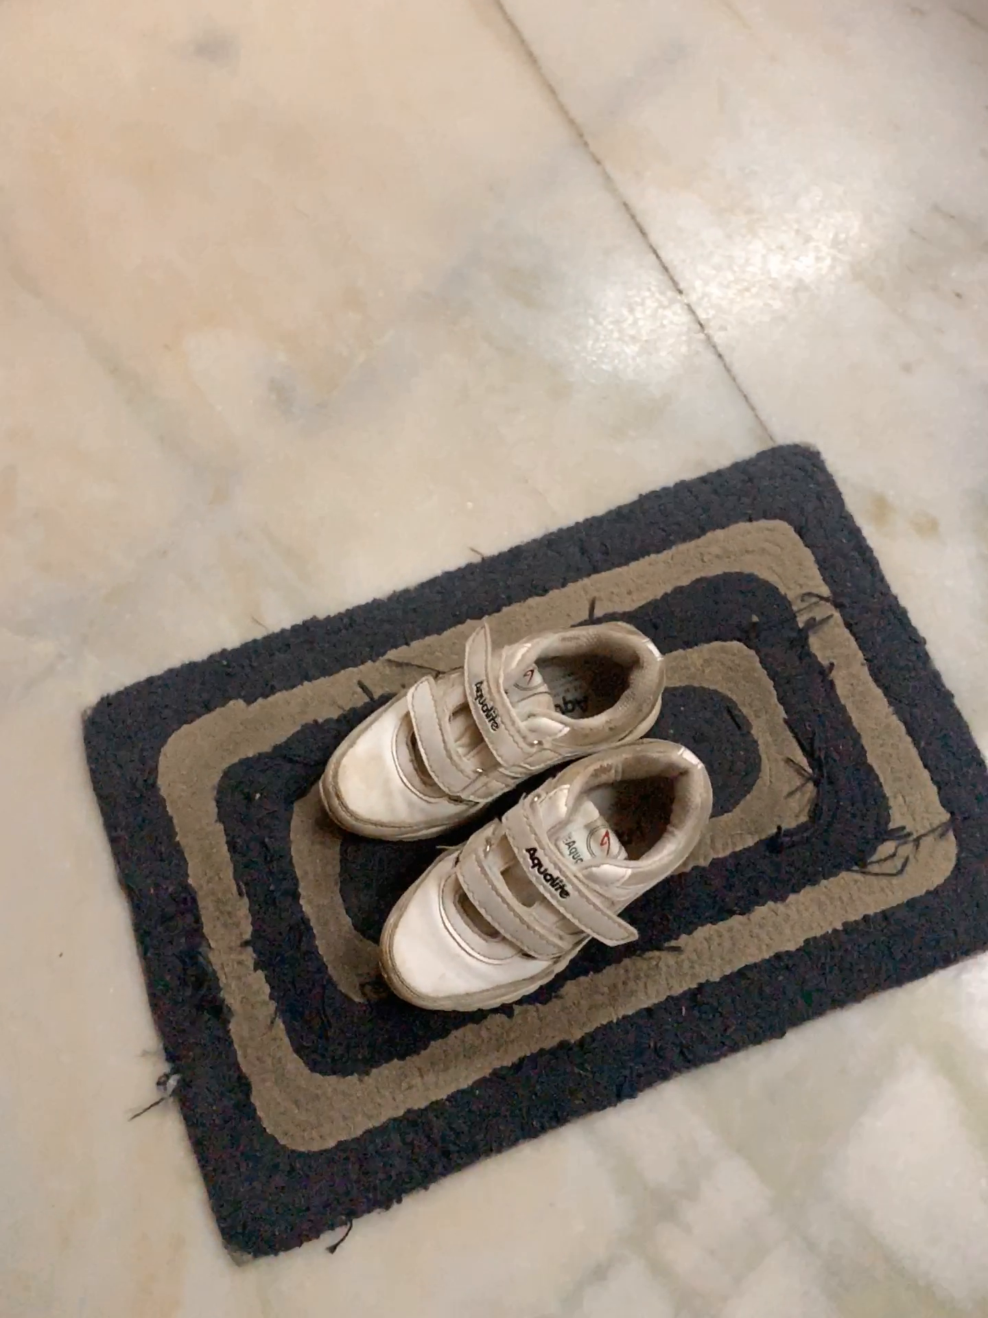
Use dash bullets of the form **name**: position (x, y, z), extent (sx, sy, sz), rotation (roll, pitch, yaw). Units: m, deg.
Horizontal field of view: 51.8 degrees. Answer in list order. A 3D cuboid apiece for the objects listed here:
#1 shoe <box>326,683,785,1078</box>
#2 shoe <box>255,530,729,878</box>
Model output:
- **shoe**: position (0.028, 0.106, 0.492), extent (0.190, 0.090, 0.080), rotation (-32, 75, -8)
- **shoe**: position (0.000, 0.026, 0.504), extent (0.200, 0.090, 0.080), rotation (-23, 74, -6)
